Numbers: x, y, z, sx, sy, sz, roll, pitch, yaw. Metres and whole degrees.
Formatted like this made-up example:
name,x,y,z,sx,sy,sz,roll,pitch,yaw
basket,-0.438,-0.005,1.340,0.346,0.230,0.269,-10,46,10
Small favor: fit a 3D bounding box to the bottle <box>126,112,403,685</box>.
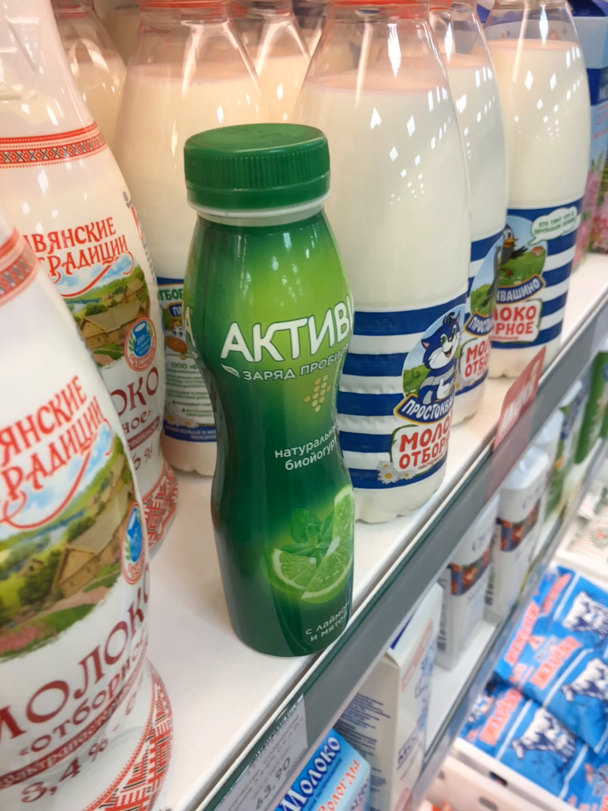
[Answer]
name,x,y,z,sx,sy,sz,roll,pitch,yaw
bottle,-0.009,0.004,0.228,0.053,0.179,0.052,-1,32,1
